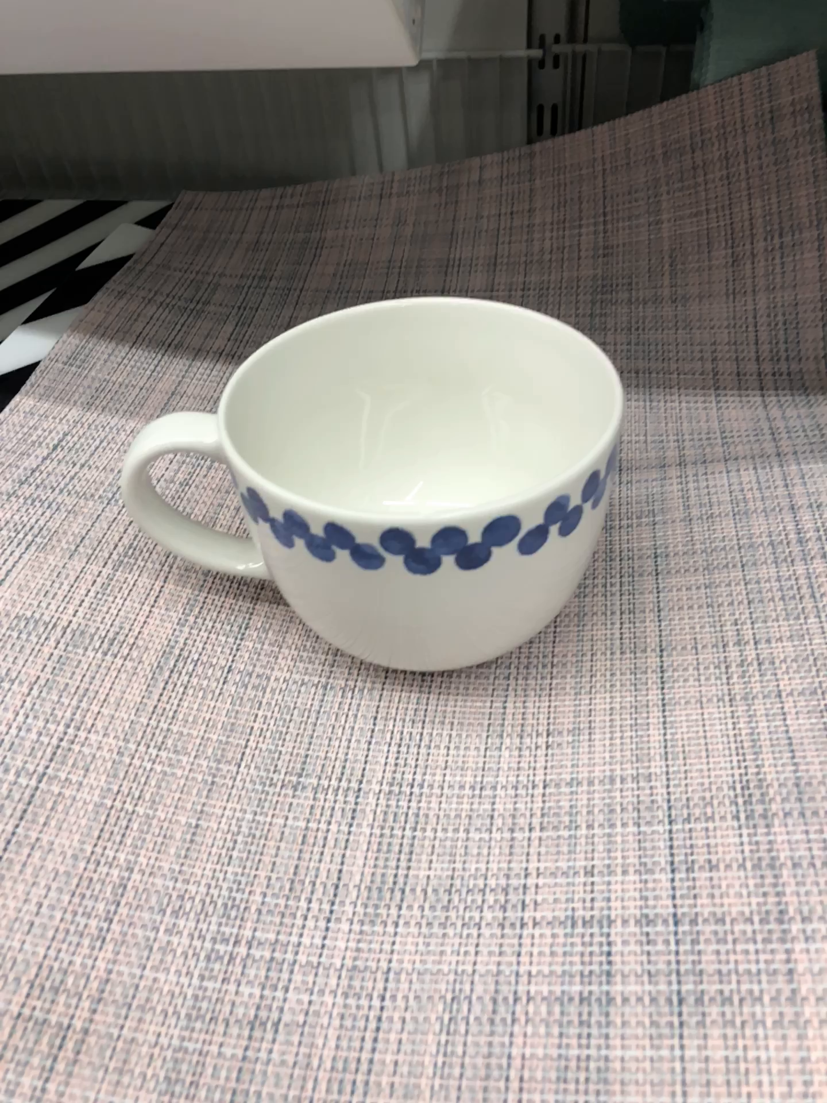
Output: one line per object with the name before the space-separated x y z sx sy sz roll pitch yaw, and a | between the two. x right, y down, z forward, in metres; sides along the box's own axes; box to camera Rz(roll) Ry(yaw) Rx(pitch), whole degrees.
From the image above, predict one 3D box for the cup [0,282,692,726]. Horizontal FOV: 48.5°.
cup | -0.016 -0.017 0.246 0.150 0.060 0.110 -1 41 5
